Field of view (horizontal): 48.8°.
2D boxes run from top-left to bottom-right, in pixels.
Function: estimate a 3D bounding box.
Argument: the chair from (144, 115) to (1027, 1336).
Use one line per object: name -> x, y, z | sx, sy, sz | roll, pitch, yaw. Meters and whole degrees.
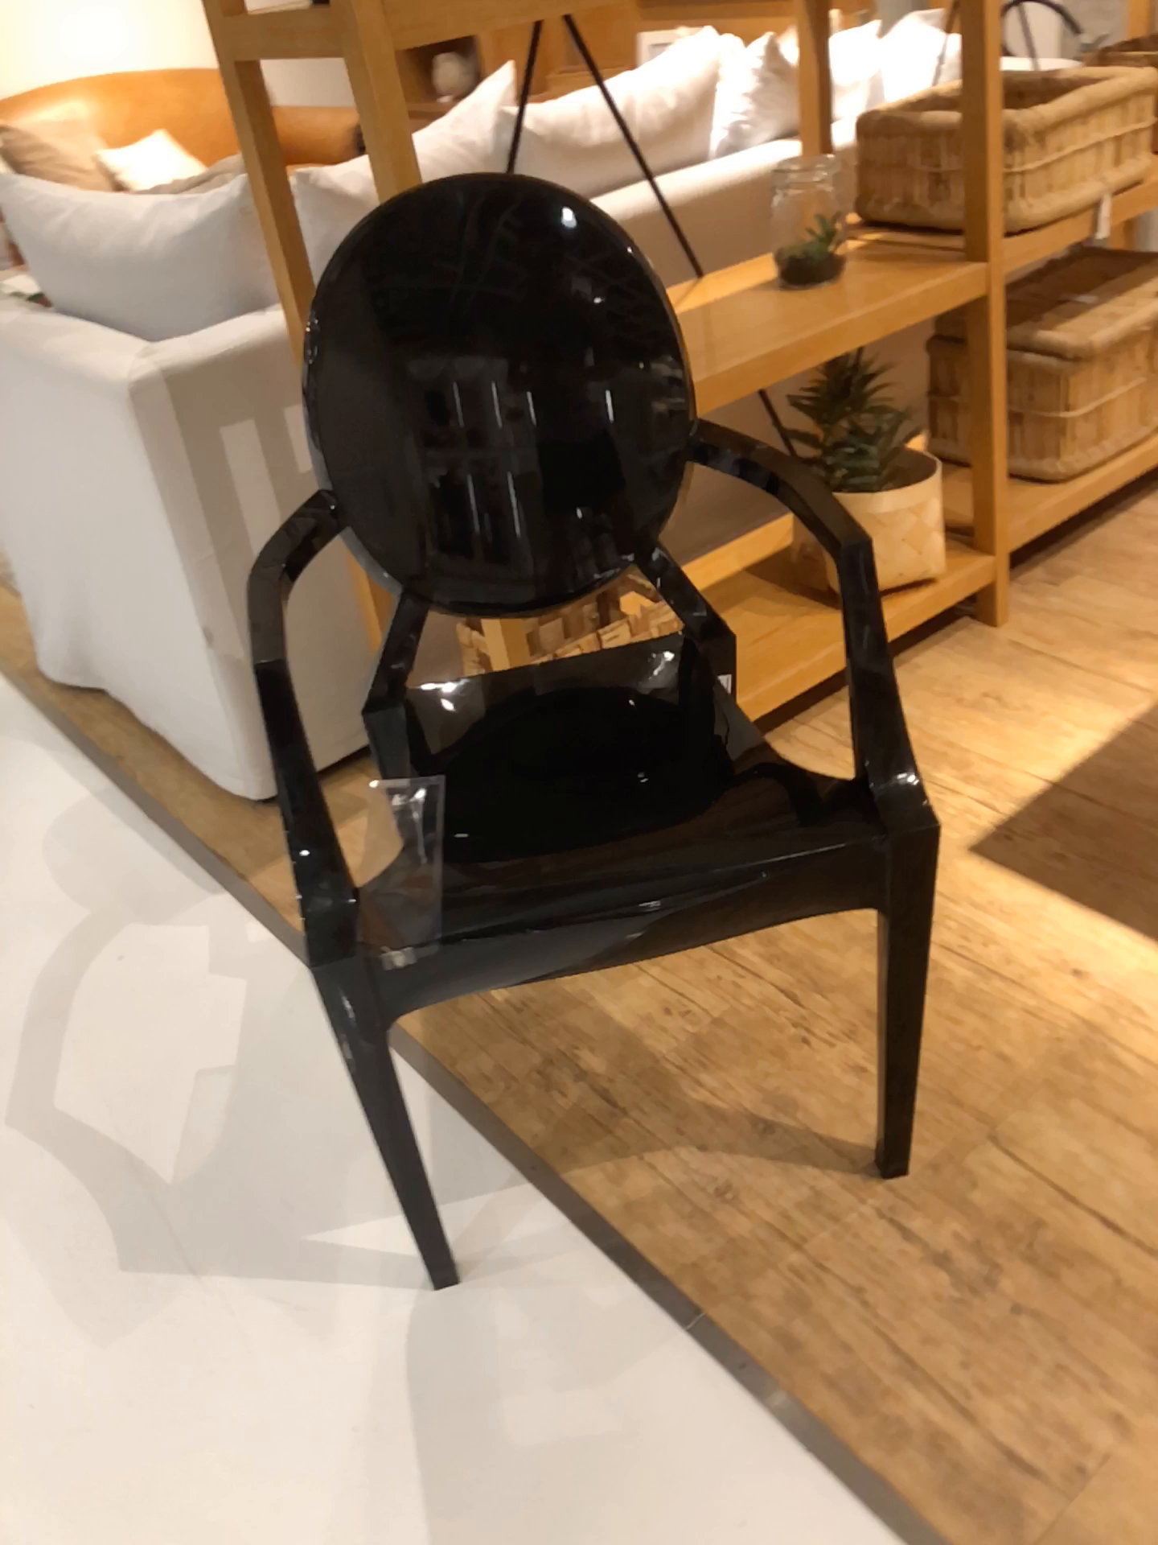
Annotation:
chair -> -0.003, -0.061, 1.238 | 0.540, 0.903, 0.594 | -15, 34, -9
